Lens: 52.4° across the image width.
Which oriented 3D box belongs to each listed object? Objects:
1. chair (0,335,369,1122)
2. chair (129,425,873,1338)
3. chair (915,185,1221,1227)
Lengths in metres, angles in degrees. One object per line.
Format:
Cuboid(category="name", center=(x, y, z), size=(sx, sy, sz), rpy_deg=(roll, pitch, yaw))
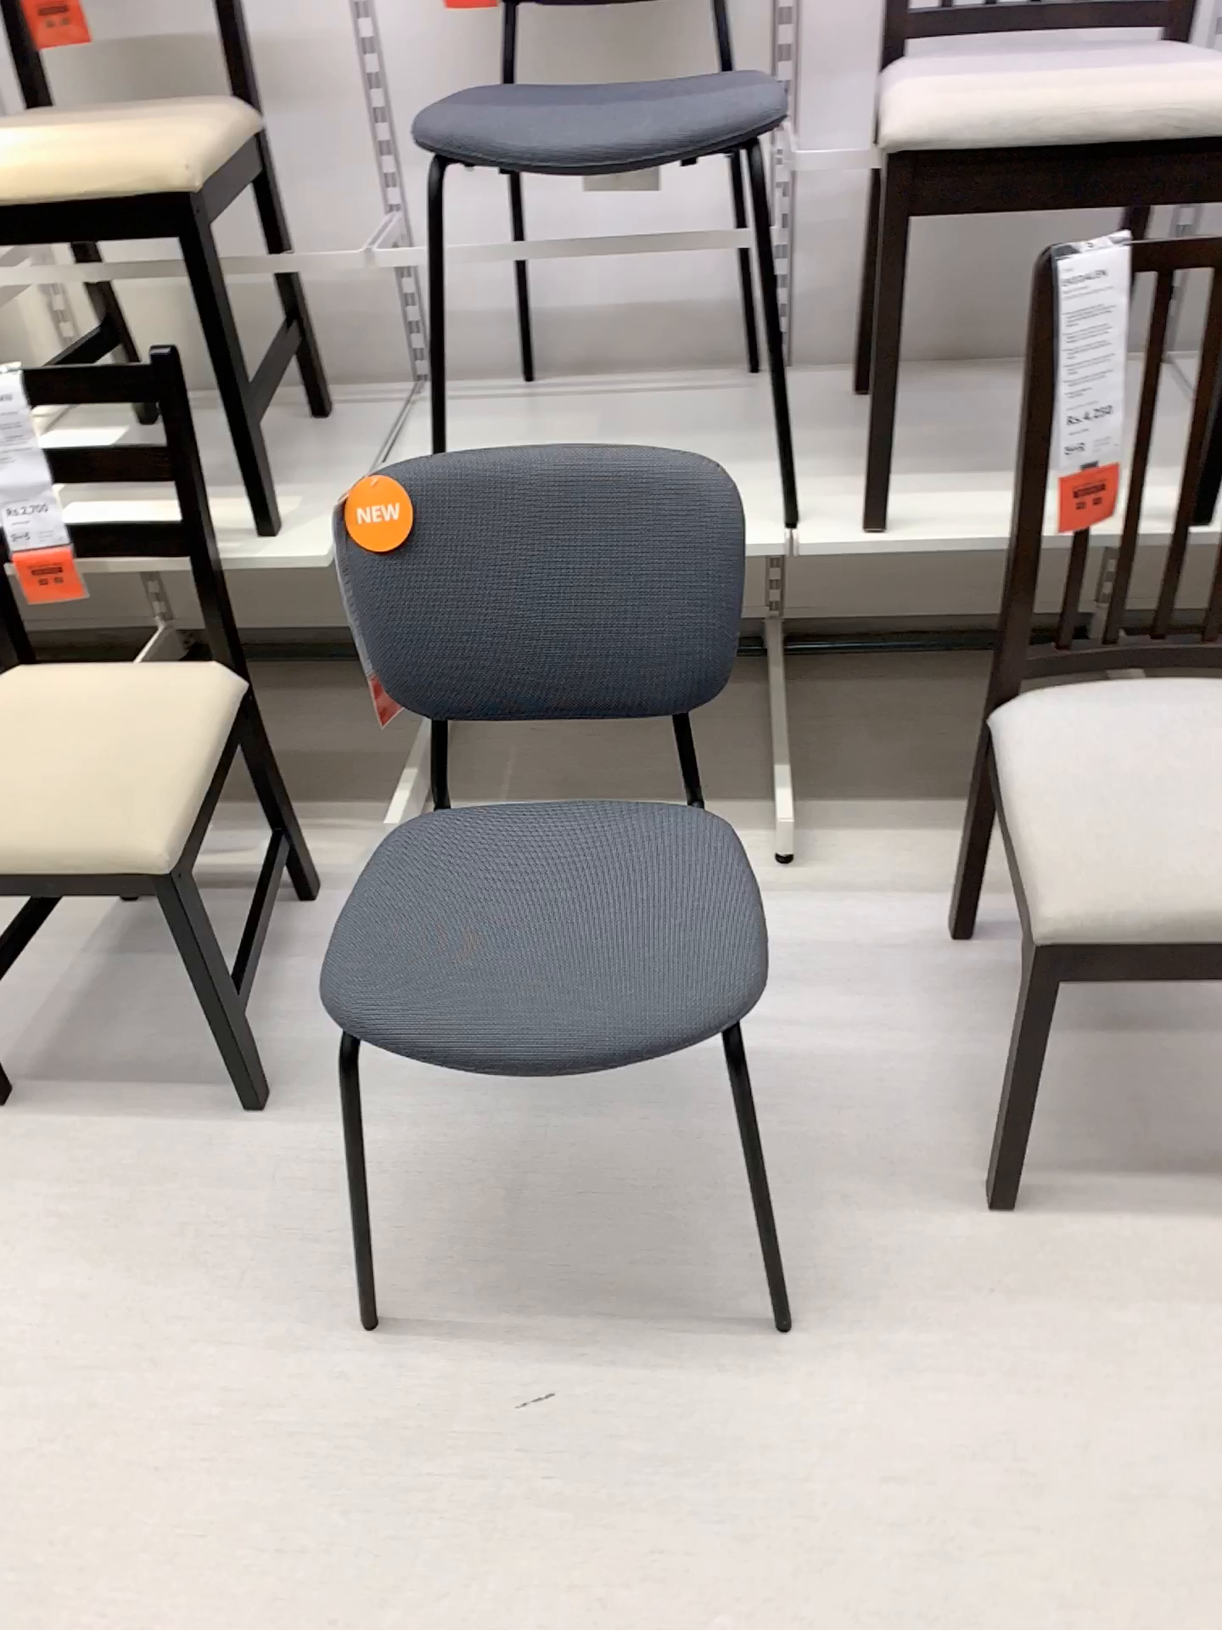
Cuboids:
Cuboid(category="chair", center=(-0.672, -0.088, 1.551), size=(0.480, 0.807, 0.532), rpy_deg=(-1, 40, 6))
Cuboid(category="chair", center=(-0.042, 0.081, 1.326), size=(0.520, 0.757, 0.592), rpy_deg=(-1, 40, 5))
Cuboid(category="chair", center=(0.638, -0.069, 1.293), size=(0.480, 0.926, 0.532), rpy_deg=(-1, 40, 5))
